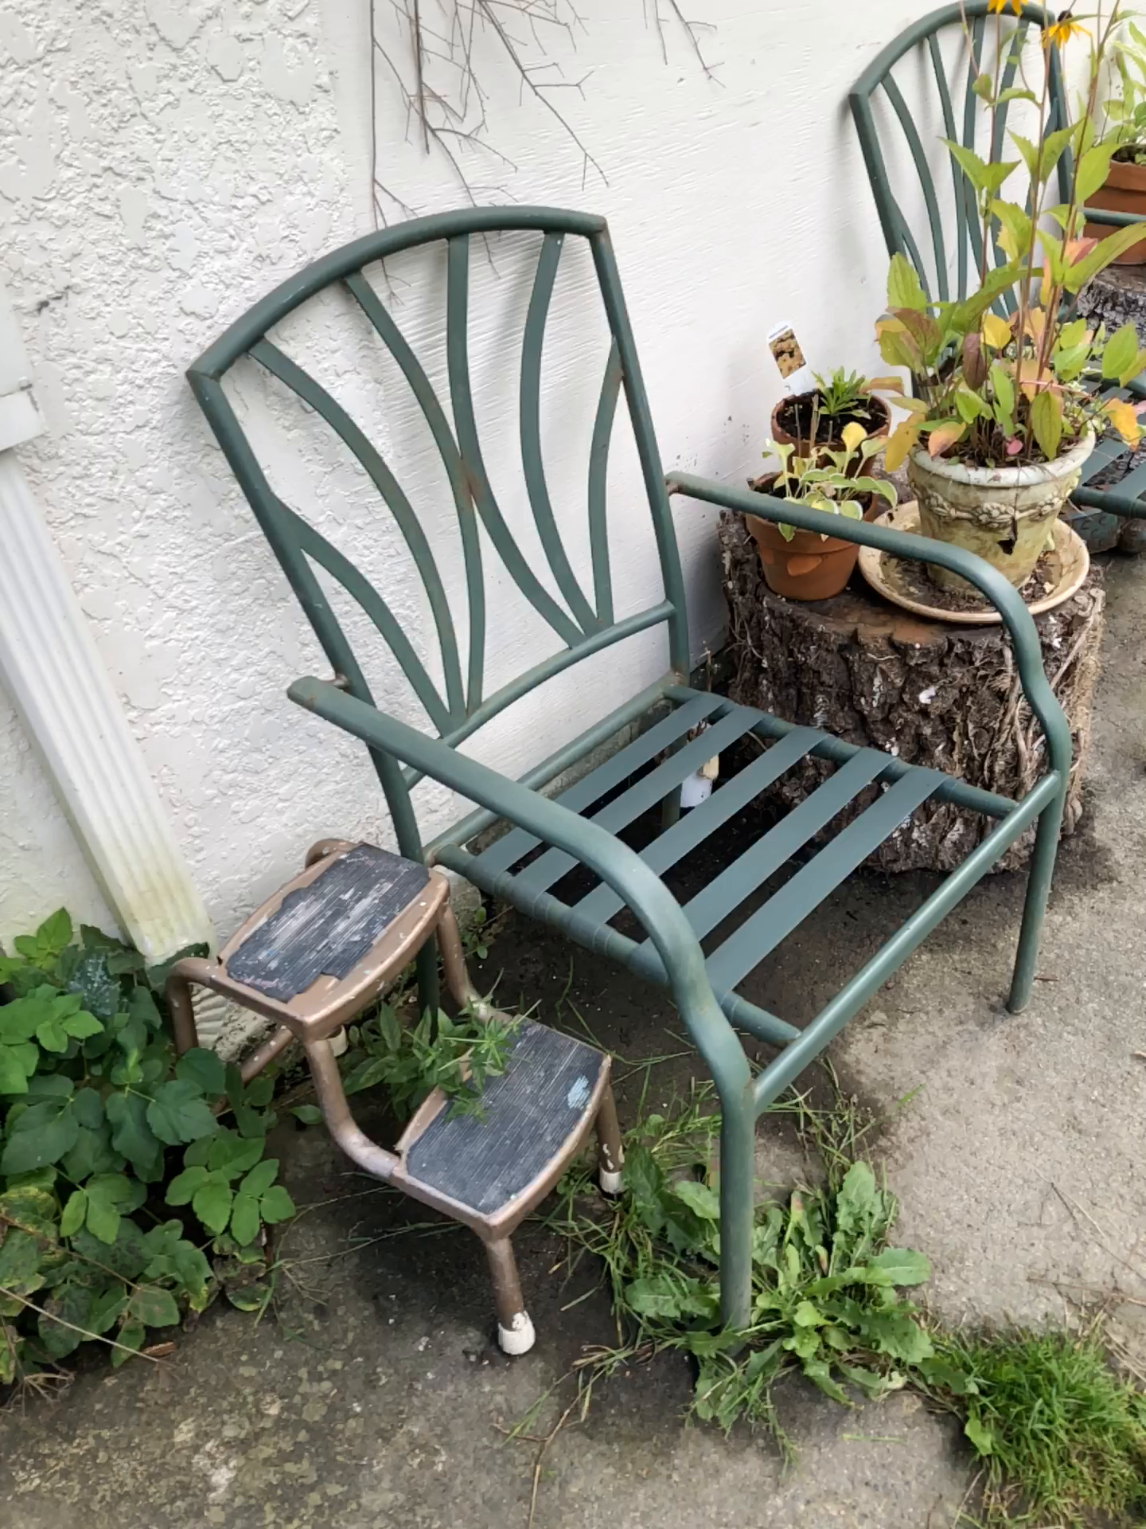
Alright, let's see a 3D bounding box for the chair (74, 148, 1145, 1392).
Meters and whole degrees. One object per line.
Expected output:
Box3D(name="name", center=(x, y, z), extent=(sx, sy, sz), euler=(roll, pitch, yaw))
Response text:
Box3D(name="chair", center=(0.082, -0.035, 1.282), extent=(0.683, 0.904, 0.622), euler=(27, 48, 34))
